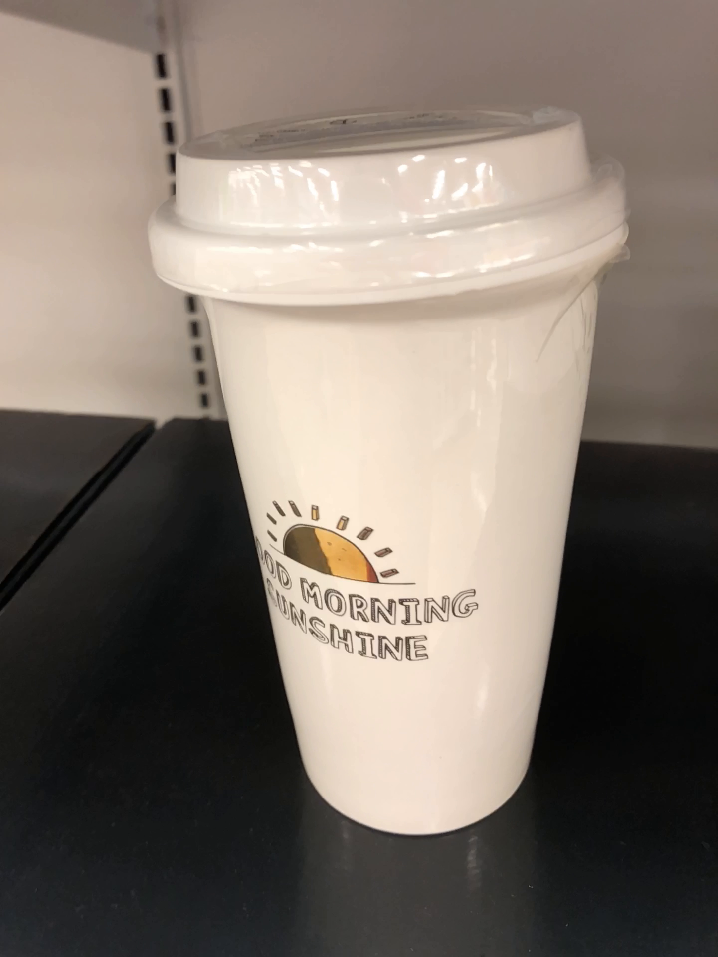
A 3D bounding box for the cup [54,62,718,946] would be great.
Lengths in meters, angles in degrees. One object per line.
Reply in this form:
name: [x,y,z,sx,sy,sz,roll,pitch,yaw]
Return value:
cup: [0.014,-0.006,0.186,0.100,0.149,0.100,-1,31,1]
